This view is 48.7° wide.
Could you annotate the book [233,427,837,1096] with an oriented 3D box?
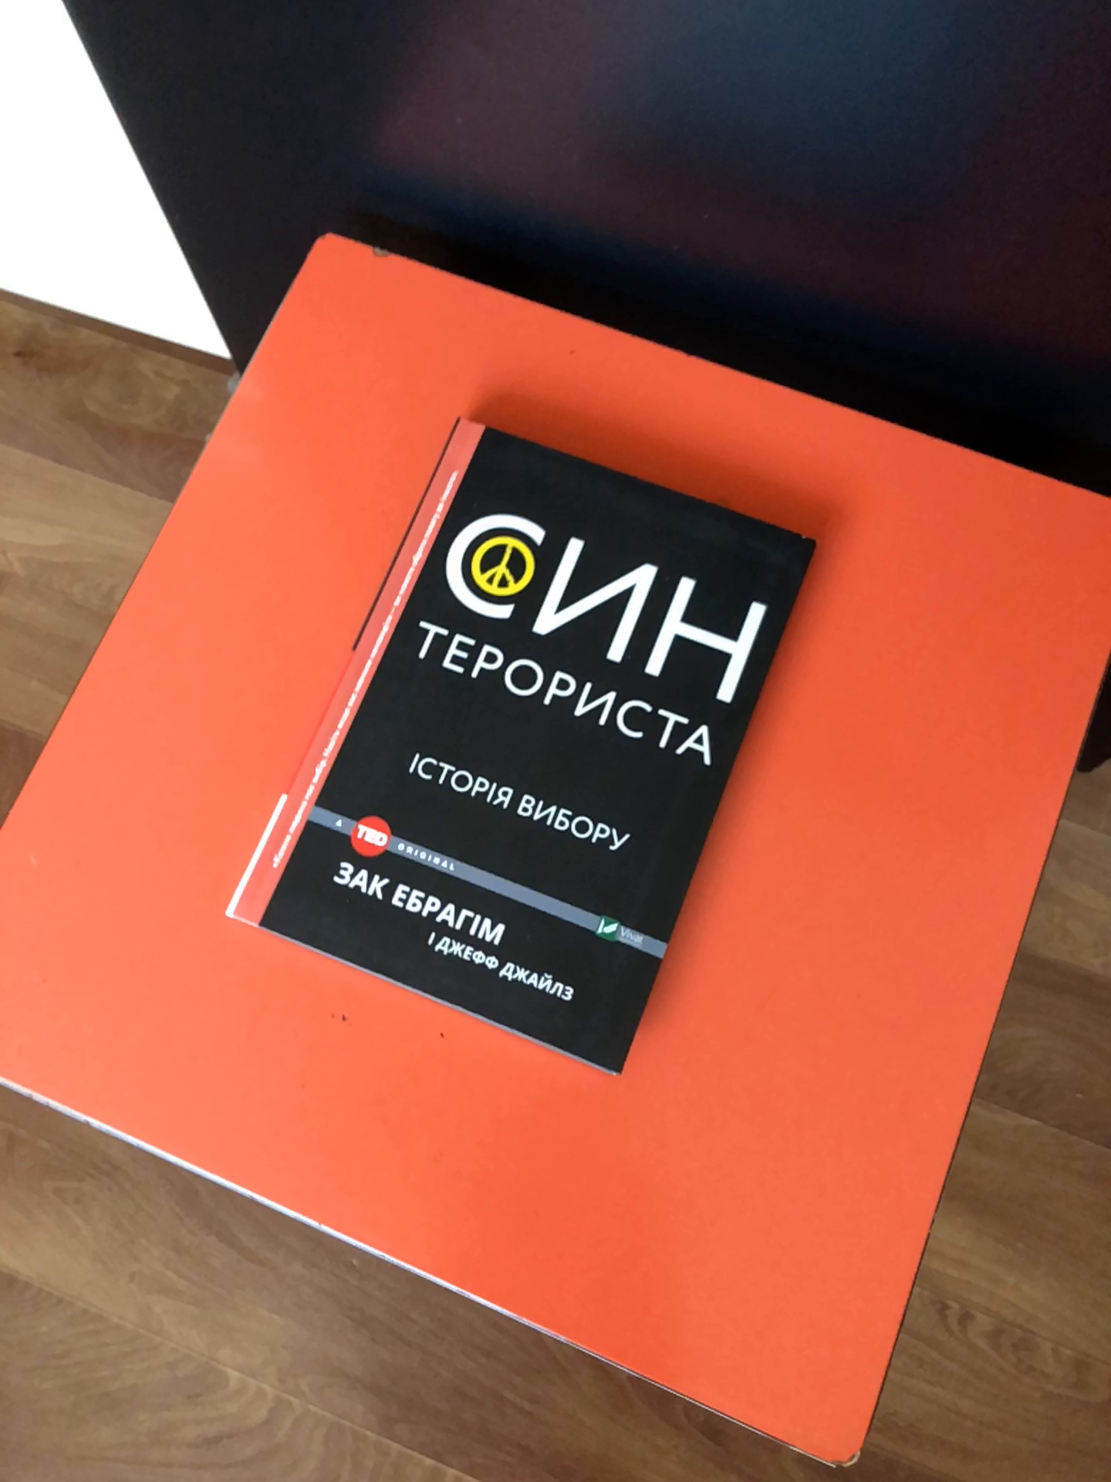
[{"bbox_3d":[-0.003,0.000,0.426,0.140,0.016,0.197,22,76,8],"label":"book"}]
